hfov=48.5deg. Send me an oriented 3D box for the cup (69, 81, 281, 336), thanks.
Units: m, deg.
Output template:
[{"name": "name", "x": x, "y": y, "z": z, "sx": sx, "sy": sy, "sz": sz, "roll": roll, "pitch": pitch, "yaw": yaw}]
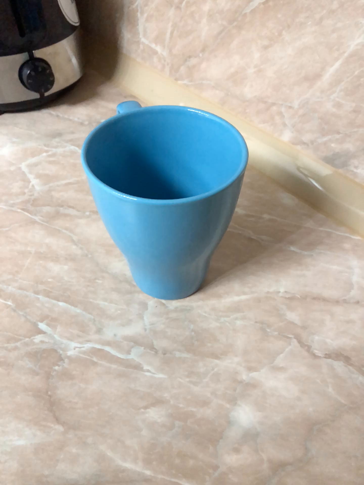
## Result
[{"name": "cup", "x": -0.011, "y": -0.025, "z": 0.245, "sx": 0.086, "sy": 0.089, "sz": 0.111, "roll": -12, "pitch": 48, "yaw": -11}]
